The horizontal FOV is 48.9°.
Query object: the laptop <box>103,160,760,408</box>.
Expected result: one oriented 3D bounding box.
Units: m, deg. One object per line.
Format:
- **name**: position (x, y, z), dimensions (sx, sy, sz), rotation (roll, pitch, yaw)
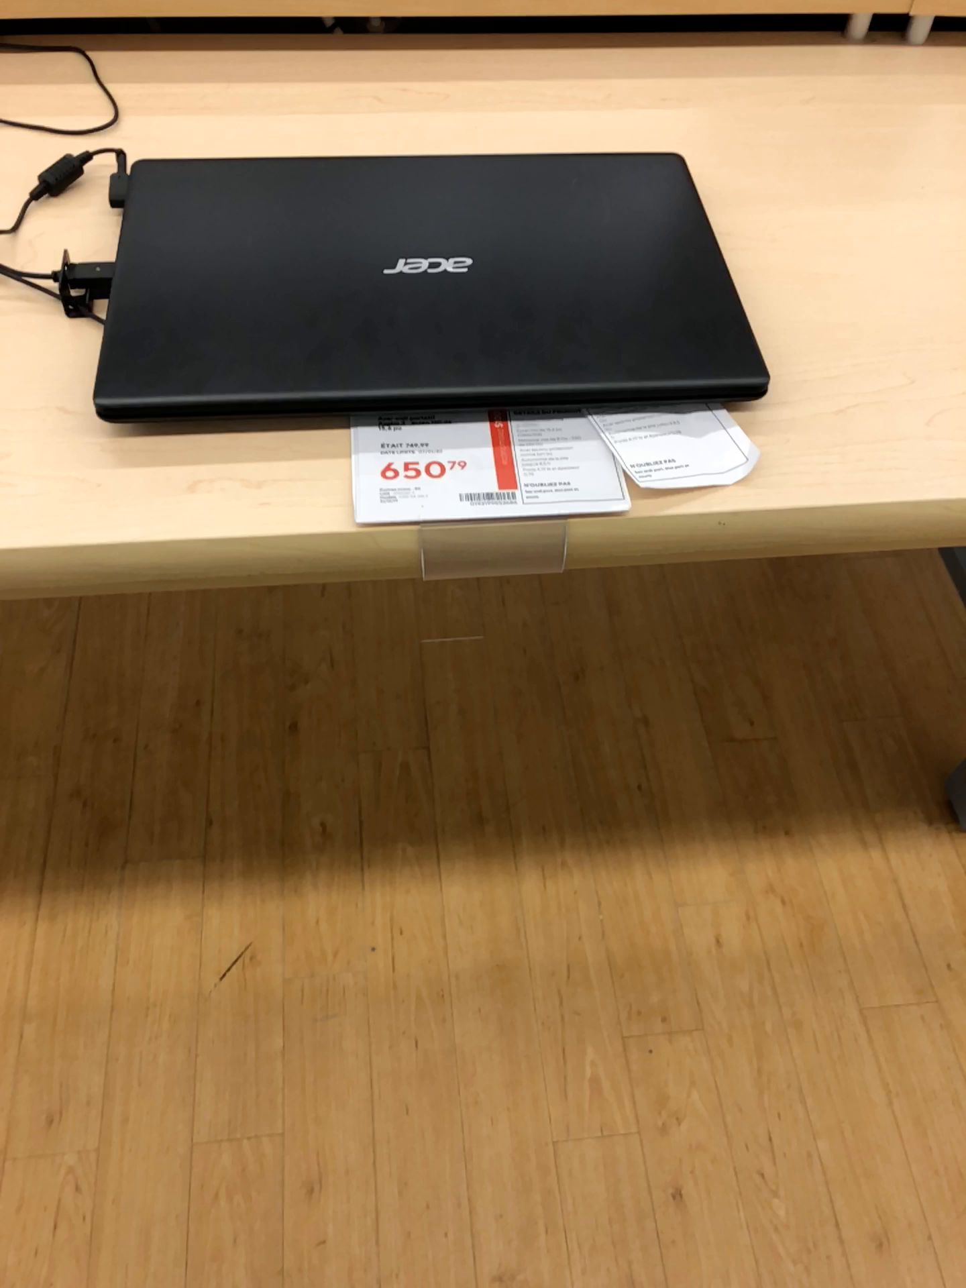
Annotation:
- **laptop**: position (-0.031, -0.219, 0.619), dimensions (0.346, 0.003, 0.213), rotation (-4, 55, -7)
